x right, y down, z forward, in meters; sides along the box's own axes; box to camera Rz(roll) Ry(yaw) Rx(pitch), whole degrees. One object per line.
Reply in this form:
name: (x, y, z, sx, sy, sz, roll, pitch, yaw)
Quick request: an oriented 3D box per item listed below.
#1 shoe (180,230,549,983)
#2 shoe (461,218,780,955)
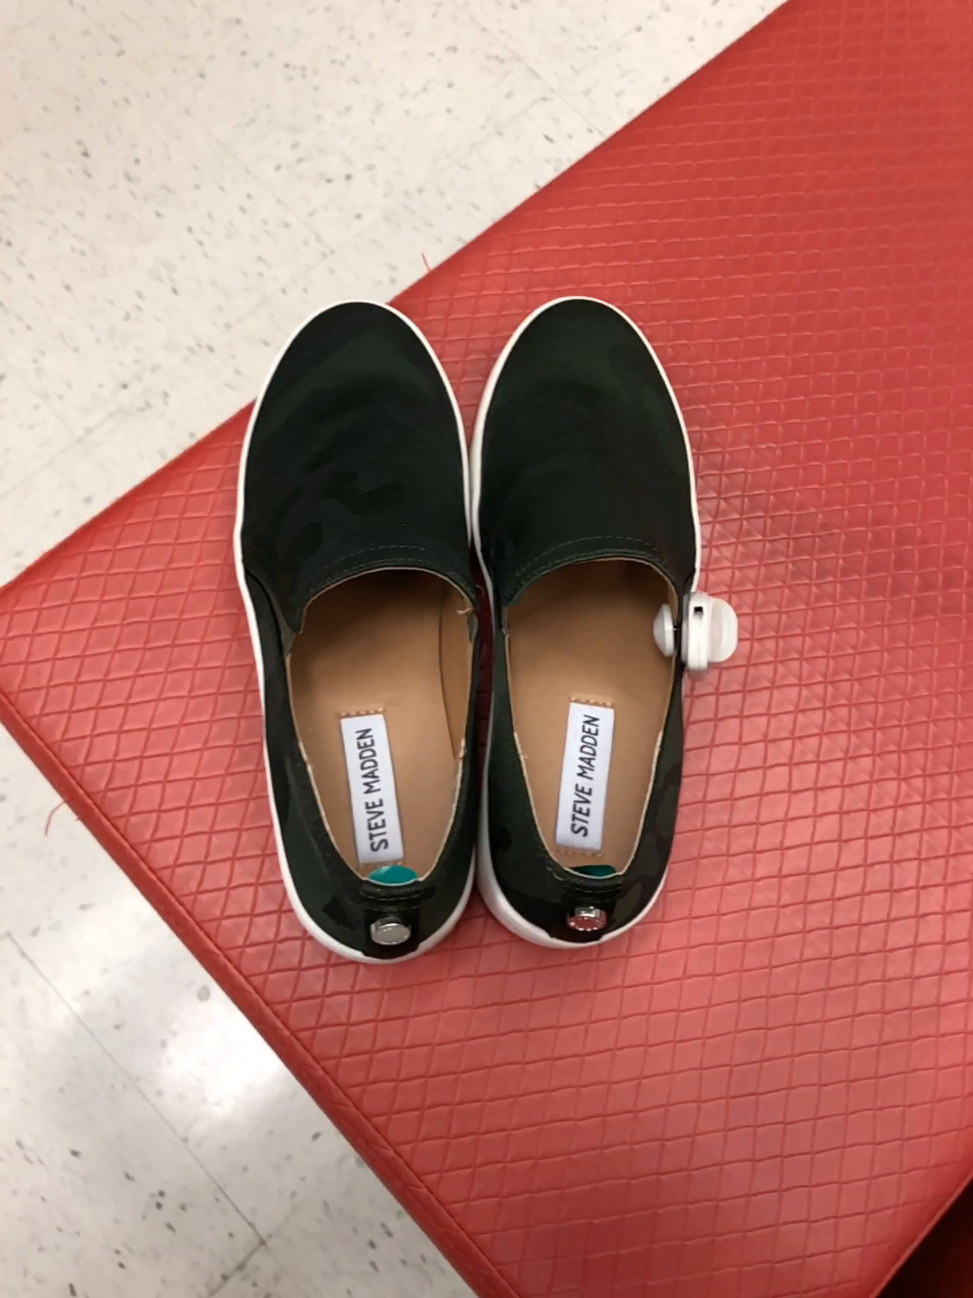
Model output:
shoe: (-0.047, -0.015, 0.384, 0.091, 0.090, 0.243, -7, 72, -6)
shoe: (0.038, -0.020, 0.392, 0.088, 0.090, 0.249, 1, 72, -4)
